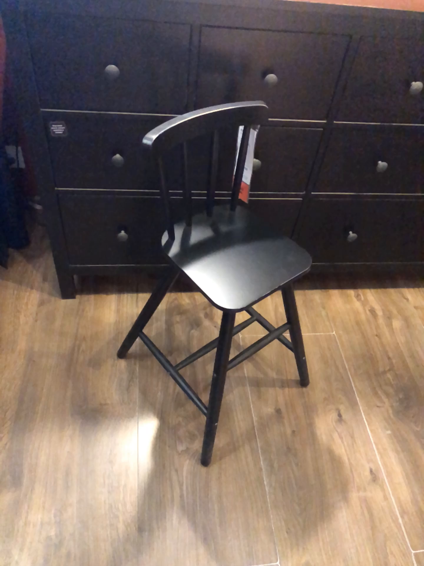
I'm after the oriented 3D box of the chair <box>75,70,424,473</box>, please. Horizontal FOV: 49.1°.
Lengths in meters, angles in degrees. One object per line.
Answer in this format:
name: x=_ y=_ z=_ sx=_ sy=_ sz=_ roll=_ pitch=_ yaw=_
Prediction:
chair: x=0.039 y=-0.011 z=1.108 sx=0.451 sy=0.716 sz=0.472 roll=-29 pitch=56 yaw=-29
